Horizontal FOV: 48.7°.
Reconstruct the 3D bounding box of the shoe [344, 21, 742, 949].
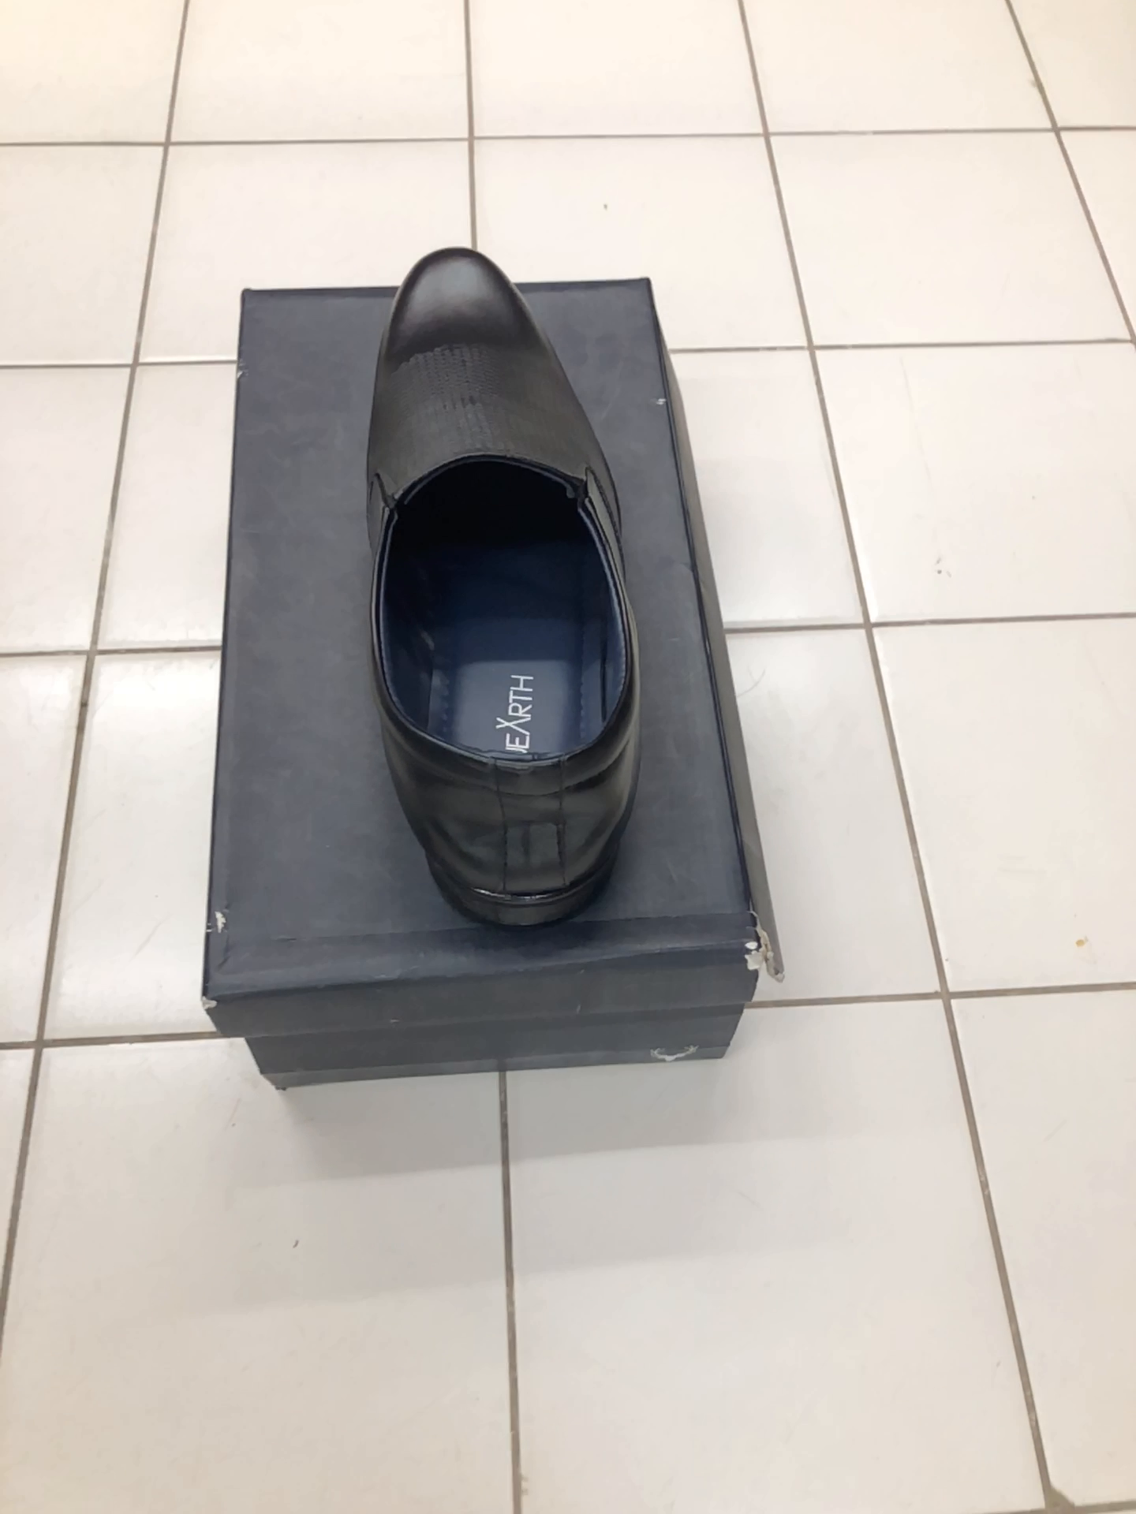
[{"bbox_3d":[-0.022,-0.115,0.483,0.100,0.129,0.342,-5,62,-4],"label":"shoe"}]
